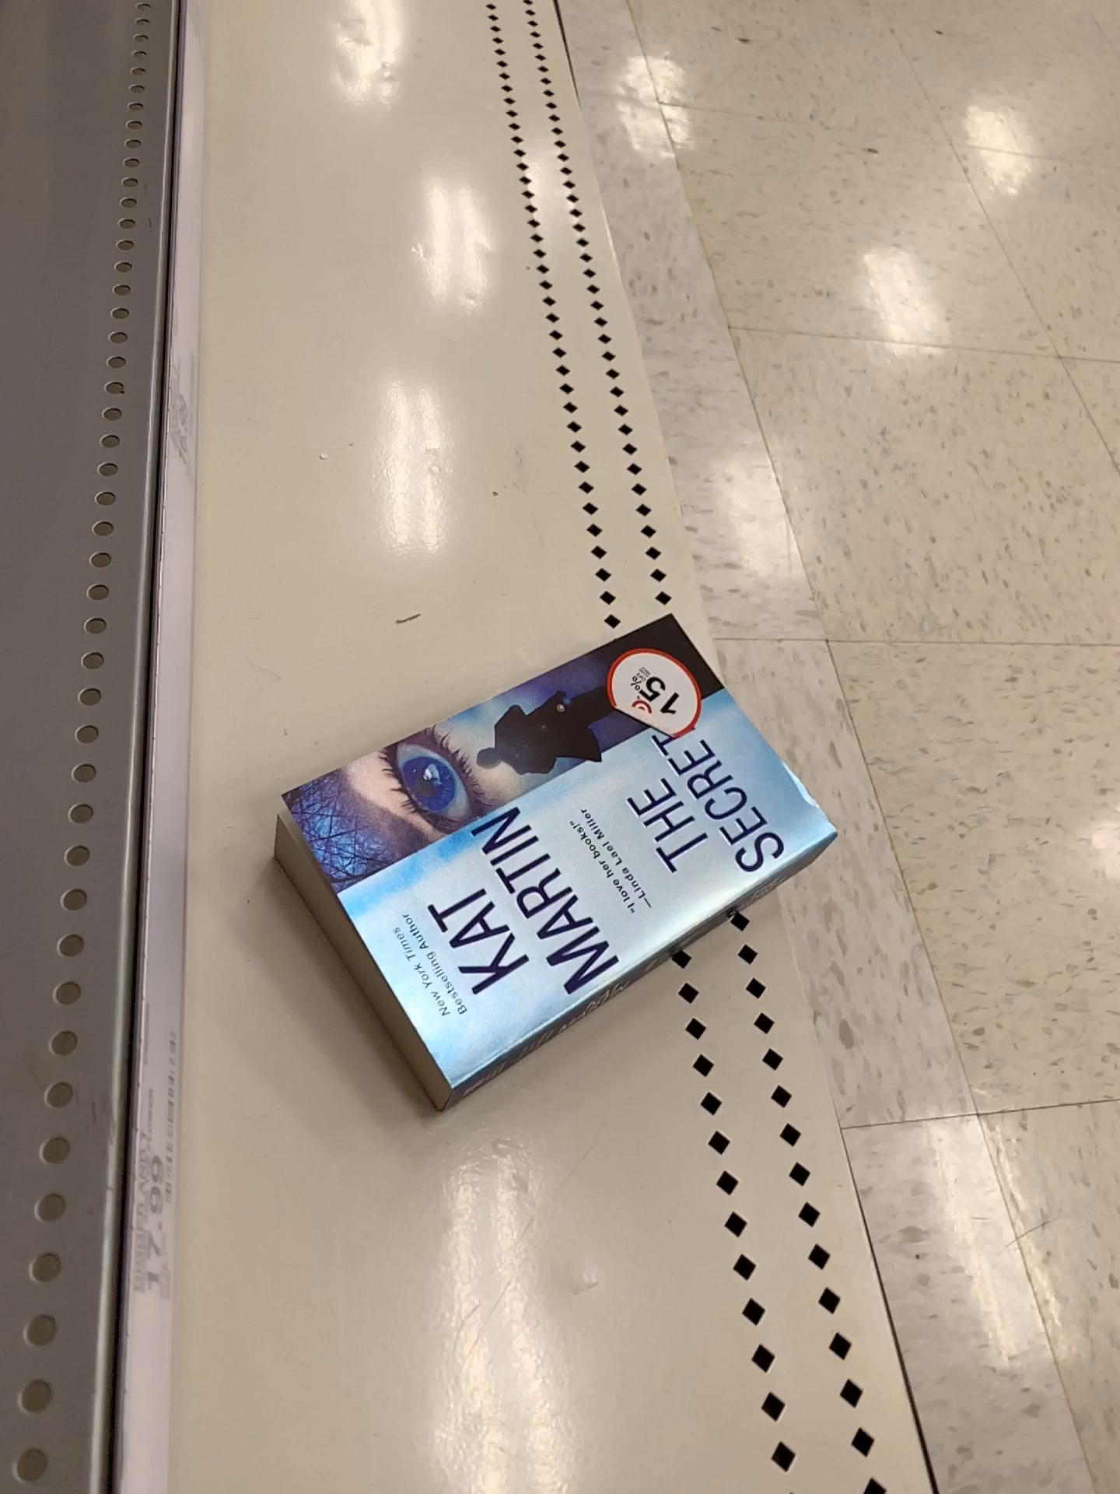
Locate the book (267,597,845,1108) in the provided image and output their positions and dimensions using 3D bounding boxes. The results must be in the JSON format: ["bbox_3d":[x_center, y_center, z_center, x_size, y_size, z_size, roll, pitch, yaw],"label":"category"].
[{"bbox_3d":[0.001,0.028,0.395,0.164,0.040,0.105,-28,73,-29],"label":"book"}]
